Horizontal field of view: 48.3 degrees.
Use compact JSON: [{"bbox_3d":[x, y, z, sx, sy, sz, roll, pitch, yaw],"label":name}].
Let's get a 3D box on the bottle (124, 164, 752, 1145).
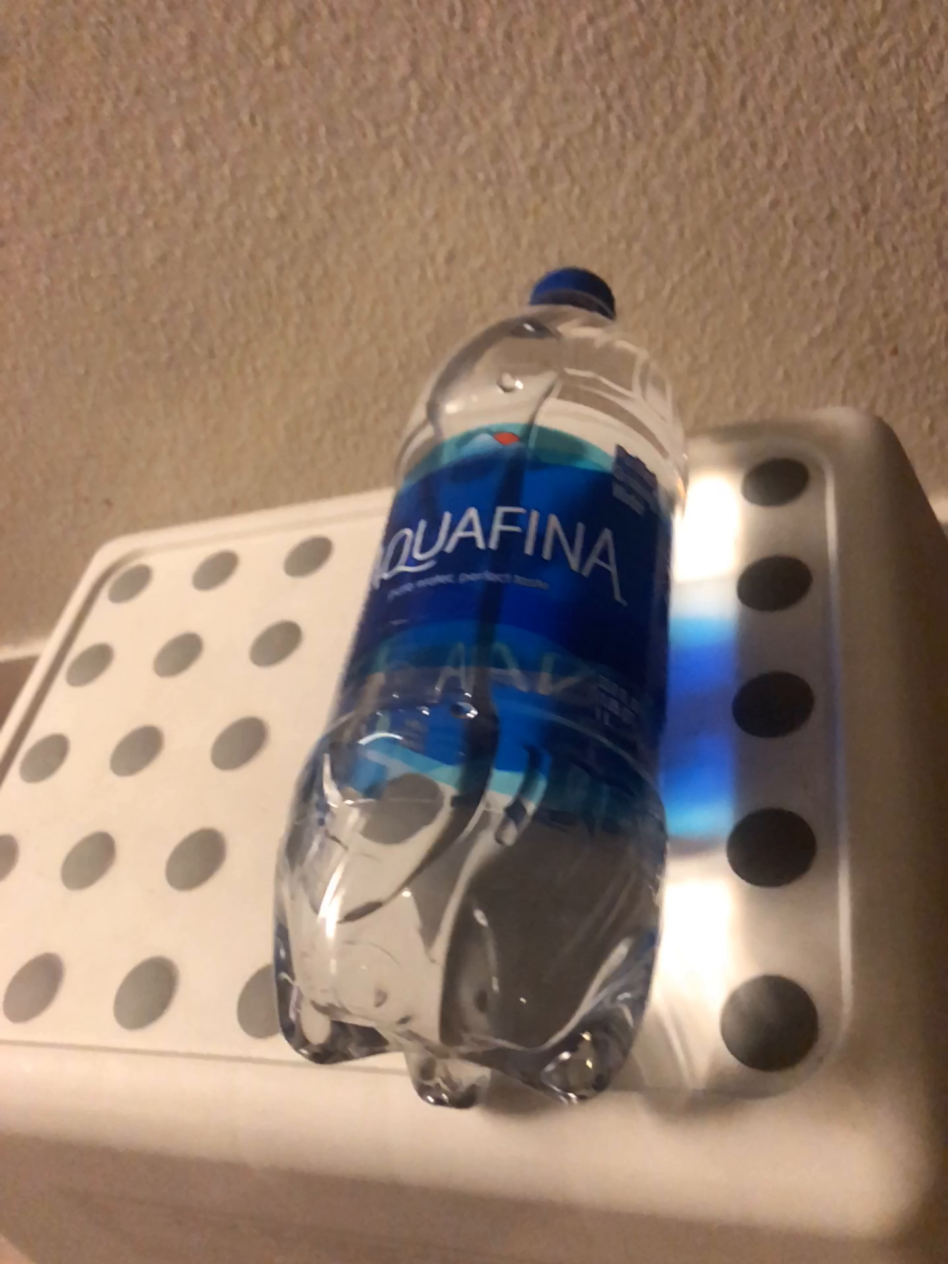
[{"bbox_3d":[0.015,-0.014,0.282,0.090,0.080,0.250,-6,48,24],"label":"bottle"}]
